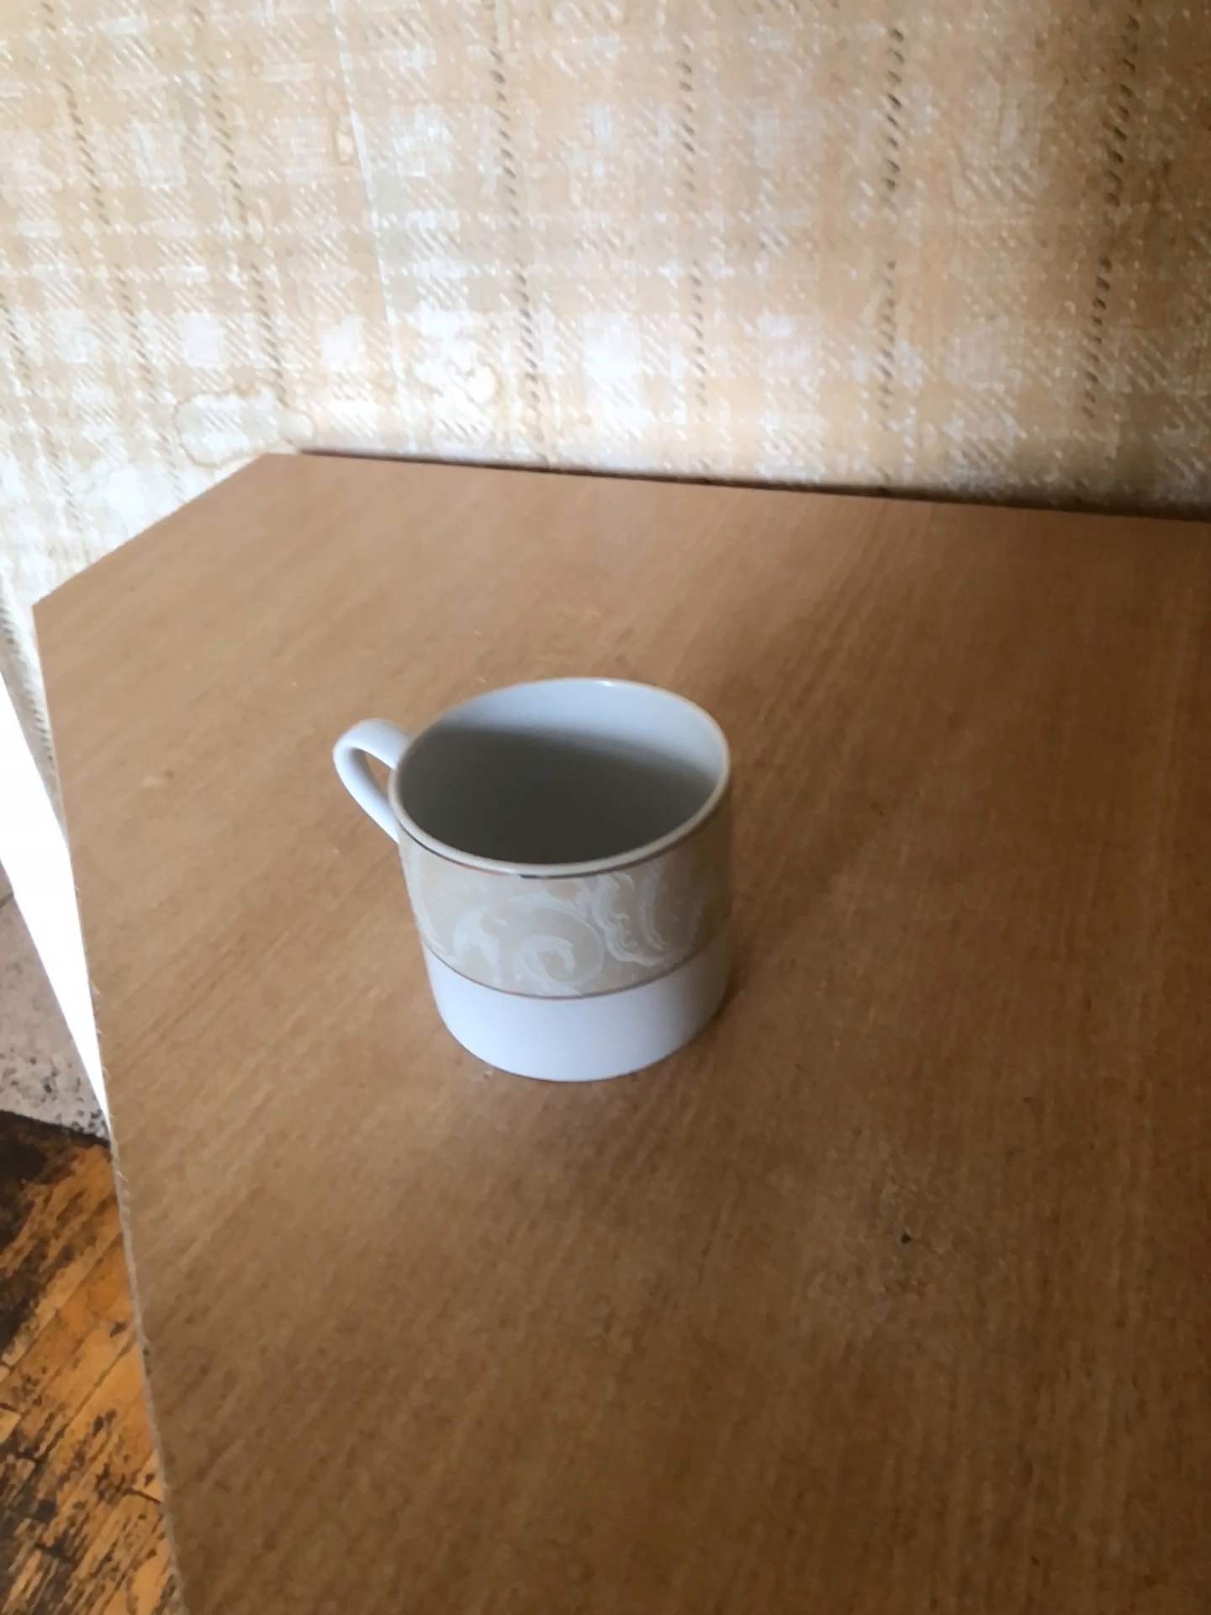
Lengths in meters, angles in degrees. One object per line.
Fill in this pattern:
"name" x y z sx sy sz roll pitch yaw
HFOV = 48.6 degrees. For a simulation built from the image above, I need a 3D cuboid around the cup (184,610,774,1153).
"cup" -0.026 0.011 0.311 0.105 0.069 0.075 18 40 31
